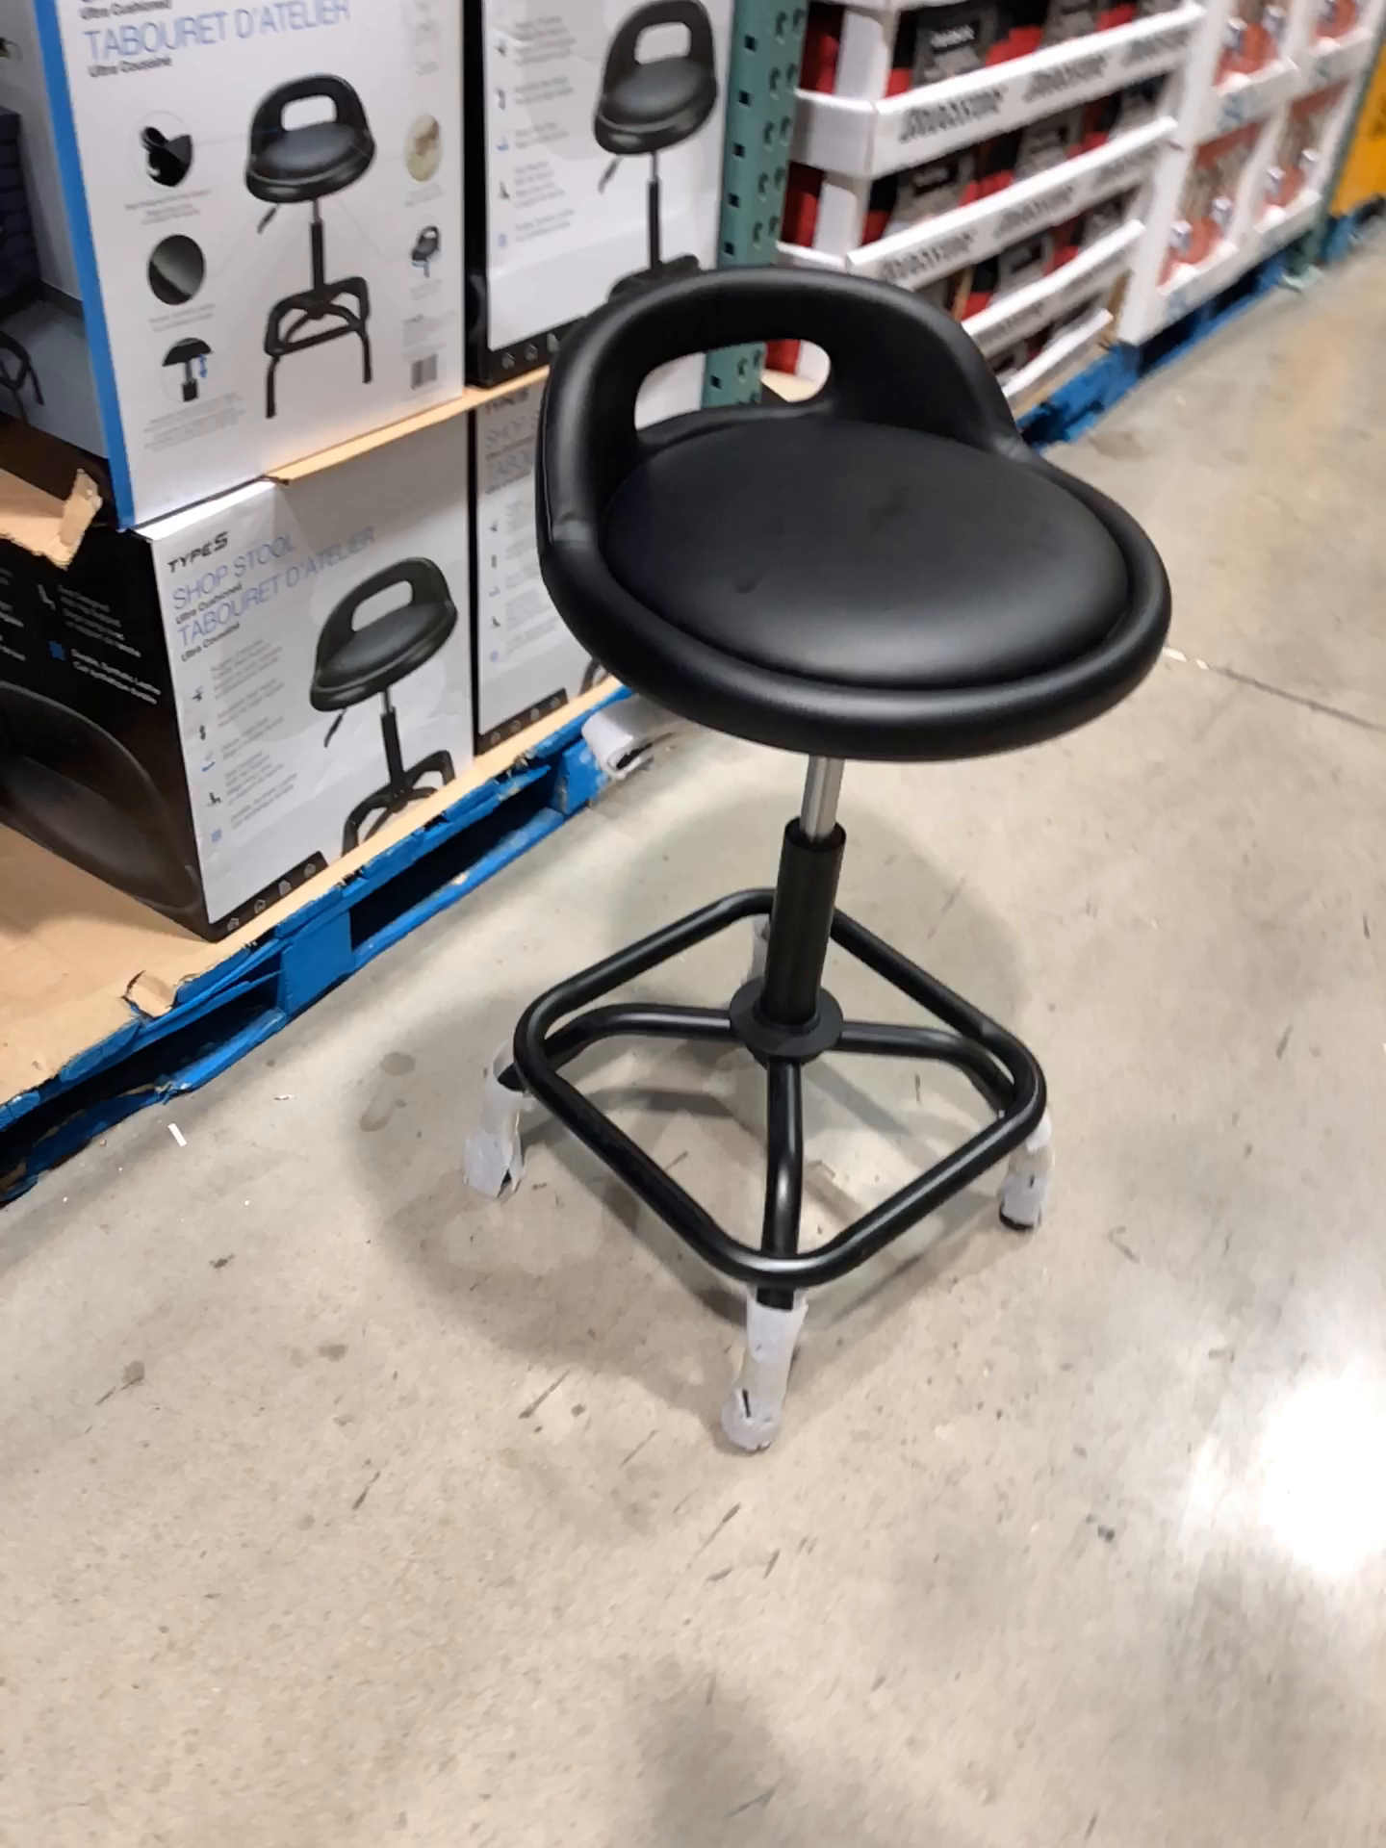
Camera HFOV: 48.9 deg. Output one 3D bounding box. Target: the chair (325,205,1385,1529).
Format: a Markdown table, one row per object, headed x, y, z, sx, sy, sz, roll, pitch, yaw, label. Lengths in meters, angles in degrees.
| x | y | z | sx | sy | sz | roll | pitch | yaw | label |
| --- | --- | --- | --- | --- | --- | --- | --- | --- | --- |
| 0.091 | -0.057 | 1.173 | 0.481 | 0.747 | 0.511 | -28 | 51 | -34 | chair |
